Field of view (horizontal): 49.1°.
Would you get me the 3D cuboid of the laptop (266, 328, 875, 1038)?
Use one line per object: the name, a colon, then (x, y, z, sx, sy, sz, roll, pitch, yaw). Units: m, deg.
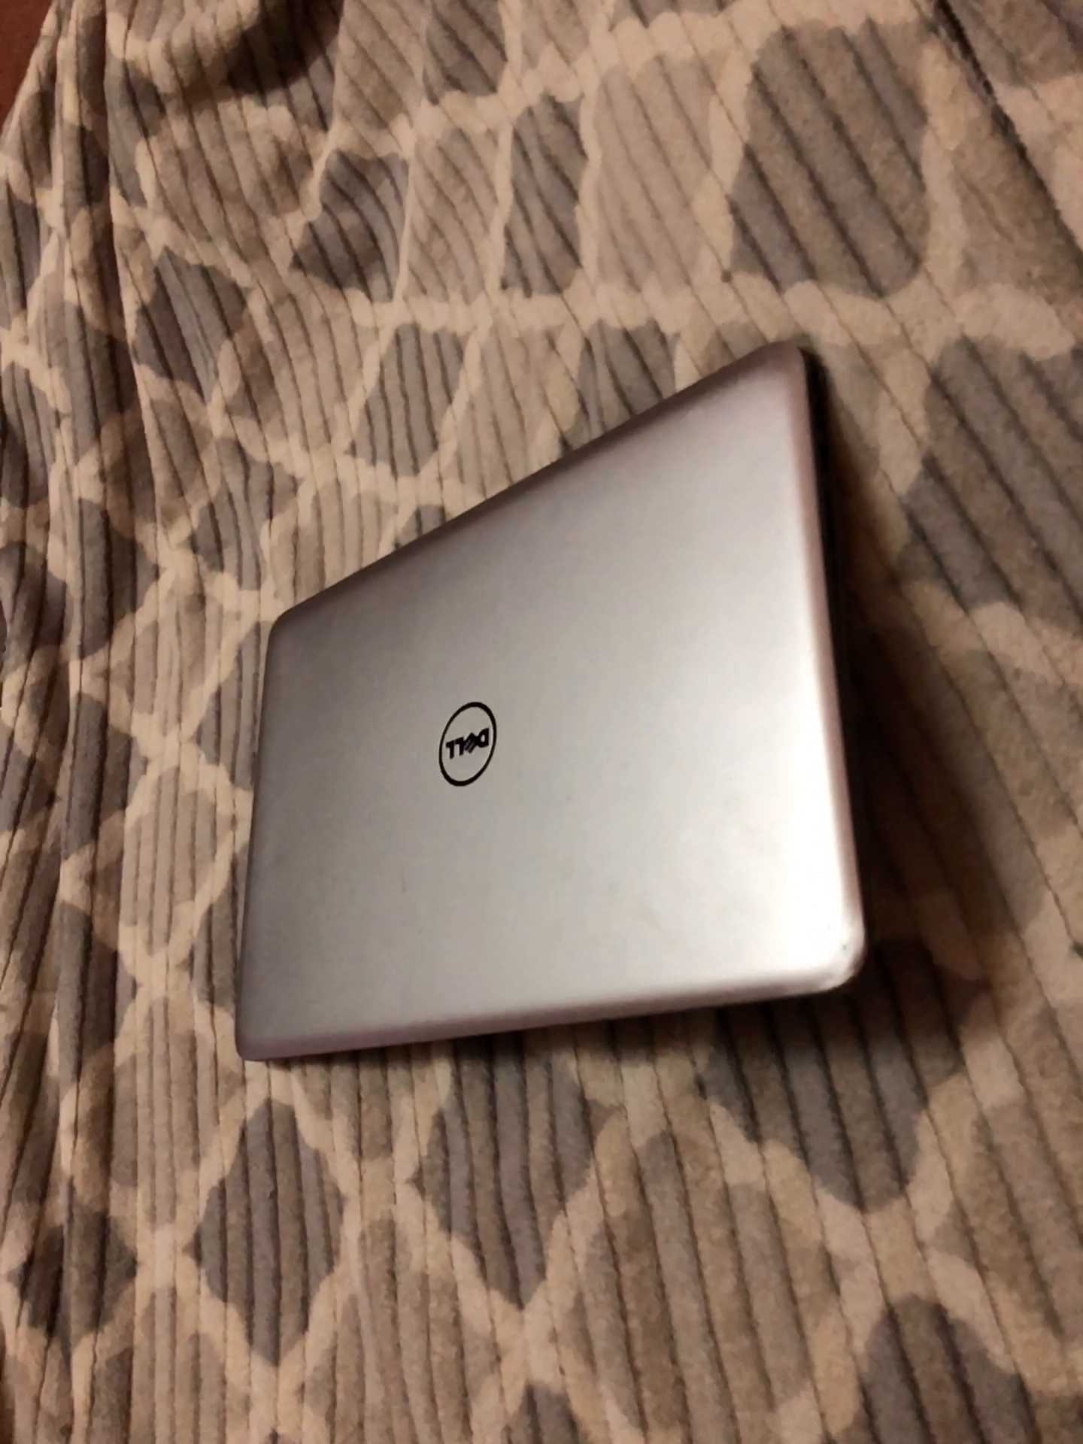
laptop: (-0.020, 0.005, 0.560, 0.359, 0.007, 0.252, -20, 63, 41)
